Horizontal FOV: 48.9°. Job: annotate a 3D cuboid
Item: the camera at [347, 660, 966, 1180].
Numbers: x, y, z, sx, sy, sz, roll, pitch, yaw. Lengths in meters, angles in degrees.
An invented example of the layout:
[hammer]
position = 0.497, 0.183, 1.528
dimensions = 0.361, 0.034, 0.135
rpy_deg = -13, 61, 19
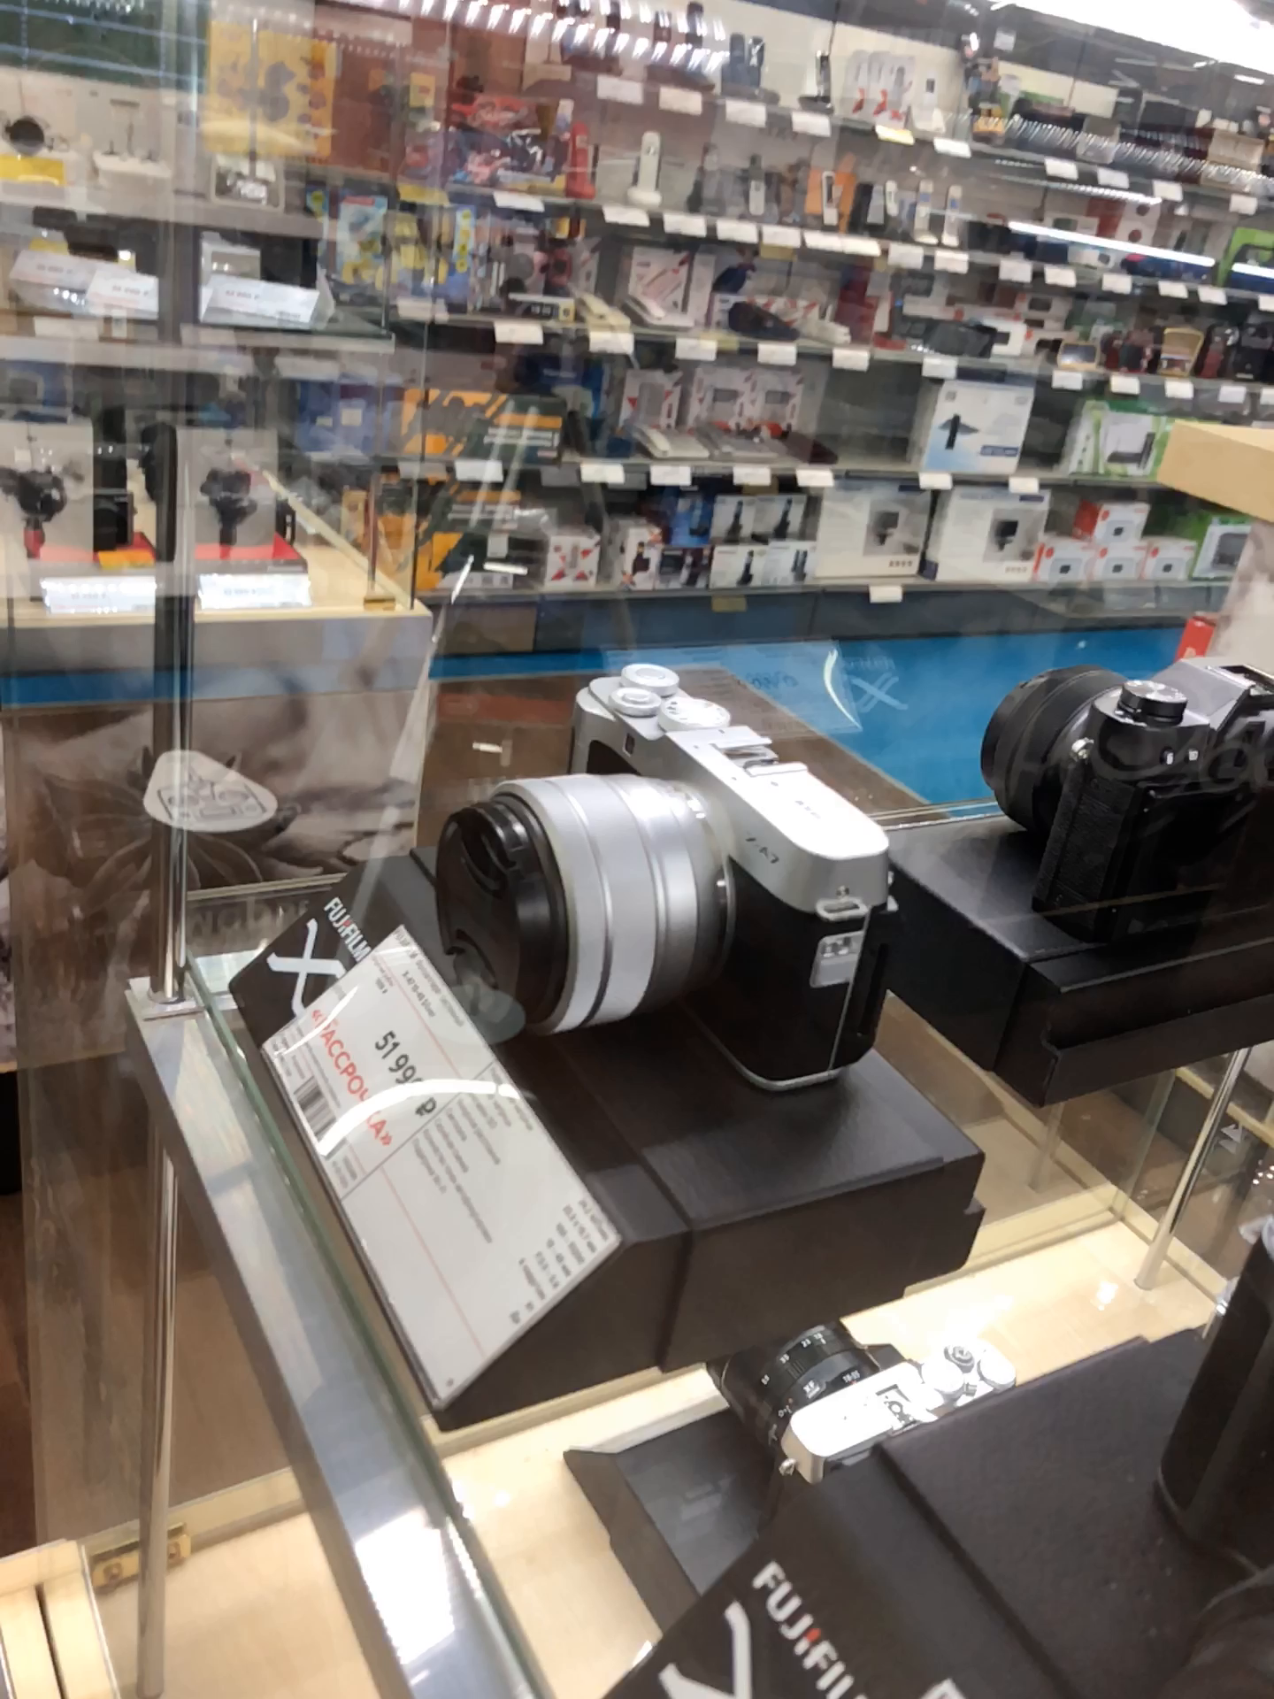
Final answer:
[camera]
position = -0.004, 0.007, 0.363
dimensions = 0.100, 0.066, 0.134
rpy_deg = -6, 30, -29
